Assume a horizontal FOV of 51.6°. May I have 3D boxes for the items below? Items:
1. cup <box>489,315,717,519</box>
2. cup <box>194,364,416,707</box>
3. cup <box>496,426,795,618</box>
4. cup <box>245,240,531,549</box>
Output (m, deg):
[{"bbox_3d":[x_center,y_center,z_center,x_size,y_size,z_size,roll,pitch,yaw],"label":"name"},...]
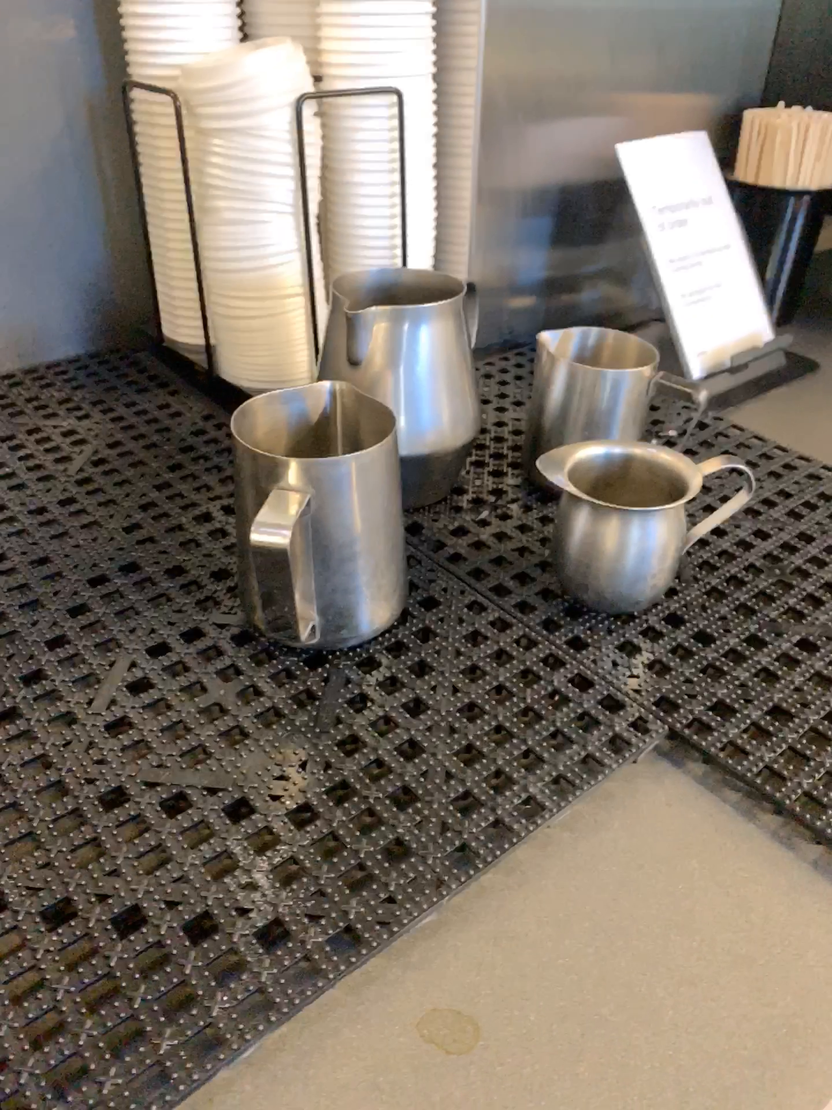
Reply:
[{"bbox_3d":[0.114,-0.089,0.534,0.110,0.080,0.080,17,37,21],"label":"cup"},{"bbox_3d":[-0.043,-0.013,0.402,0.080,0.109,0.121,2,34,1],"label":"cup"},{"bbox_3d":[0.109,-0.019,0.438,0.120,0.060,0.081,-2,34,-5],"label":"cup"},{"bbox_3d":[-0.013,-0.108,0.545,0.100,0.129,0.150,22,39,27],"label":"cup"}]
